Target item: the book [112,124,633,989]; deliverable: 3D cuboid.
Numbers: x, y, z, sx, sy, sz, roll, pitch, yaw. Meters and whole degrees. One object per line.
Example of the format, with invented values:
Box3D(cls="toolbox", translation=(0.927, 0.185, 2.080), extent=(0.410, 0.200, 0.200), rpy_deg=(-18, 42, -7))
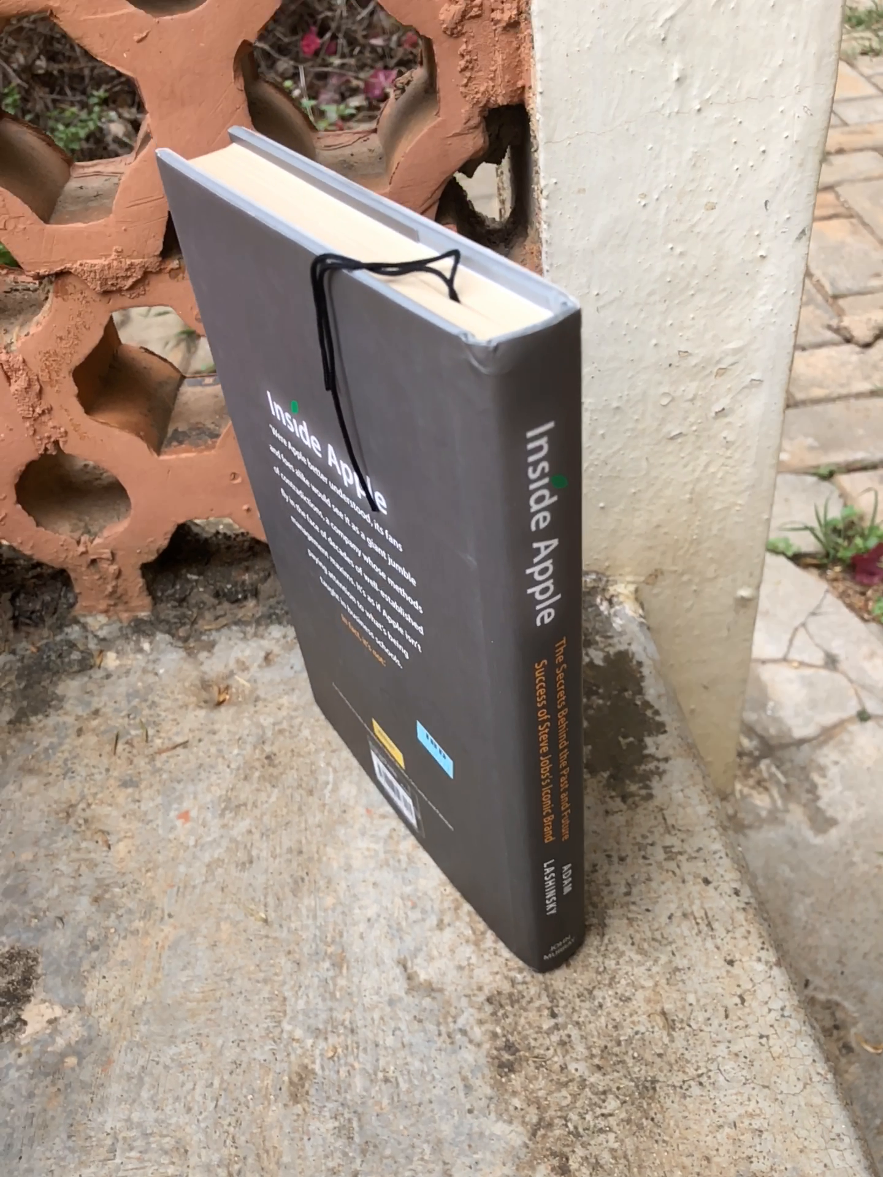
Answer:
Box3D(cls="book", translation=(-0.015, -0.006, 0.302), extent=(0.040, 0.219, 0.171), rpy_deg=(-29, 45, -20))
